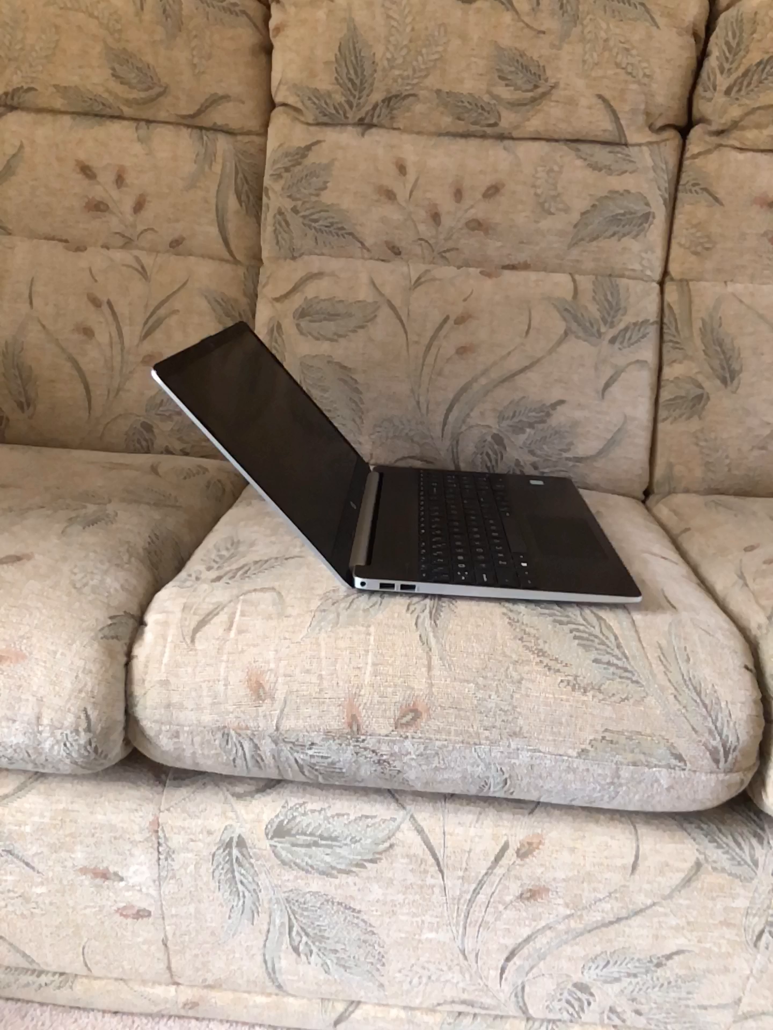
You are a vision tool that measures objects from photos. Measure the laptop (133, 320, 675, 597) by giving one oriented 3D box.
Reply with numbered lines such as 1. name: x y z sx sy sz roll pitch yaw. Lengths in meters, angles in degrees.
1. laptop: 0.018 -0.074 0.819 0.397 0.163 0.340 4 21 0
